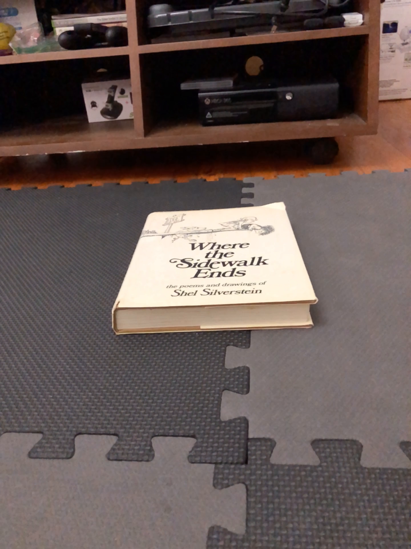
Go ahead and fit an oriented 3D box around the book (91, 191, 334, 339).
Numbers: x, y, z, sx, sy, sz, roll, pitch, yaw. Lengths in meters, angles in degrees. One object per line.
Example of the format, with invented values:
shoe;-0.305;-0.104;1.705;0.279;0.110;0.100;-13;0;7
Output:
book;0.012;-0.028;0.502;0.200;0.030;0.282;-3;28;5
